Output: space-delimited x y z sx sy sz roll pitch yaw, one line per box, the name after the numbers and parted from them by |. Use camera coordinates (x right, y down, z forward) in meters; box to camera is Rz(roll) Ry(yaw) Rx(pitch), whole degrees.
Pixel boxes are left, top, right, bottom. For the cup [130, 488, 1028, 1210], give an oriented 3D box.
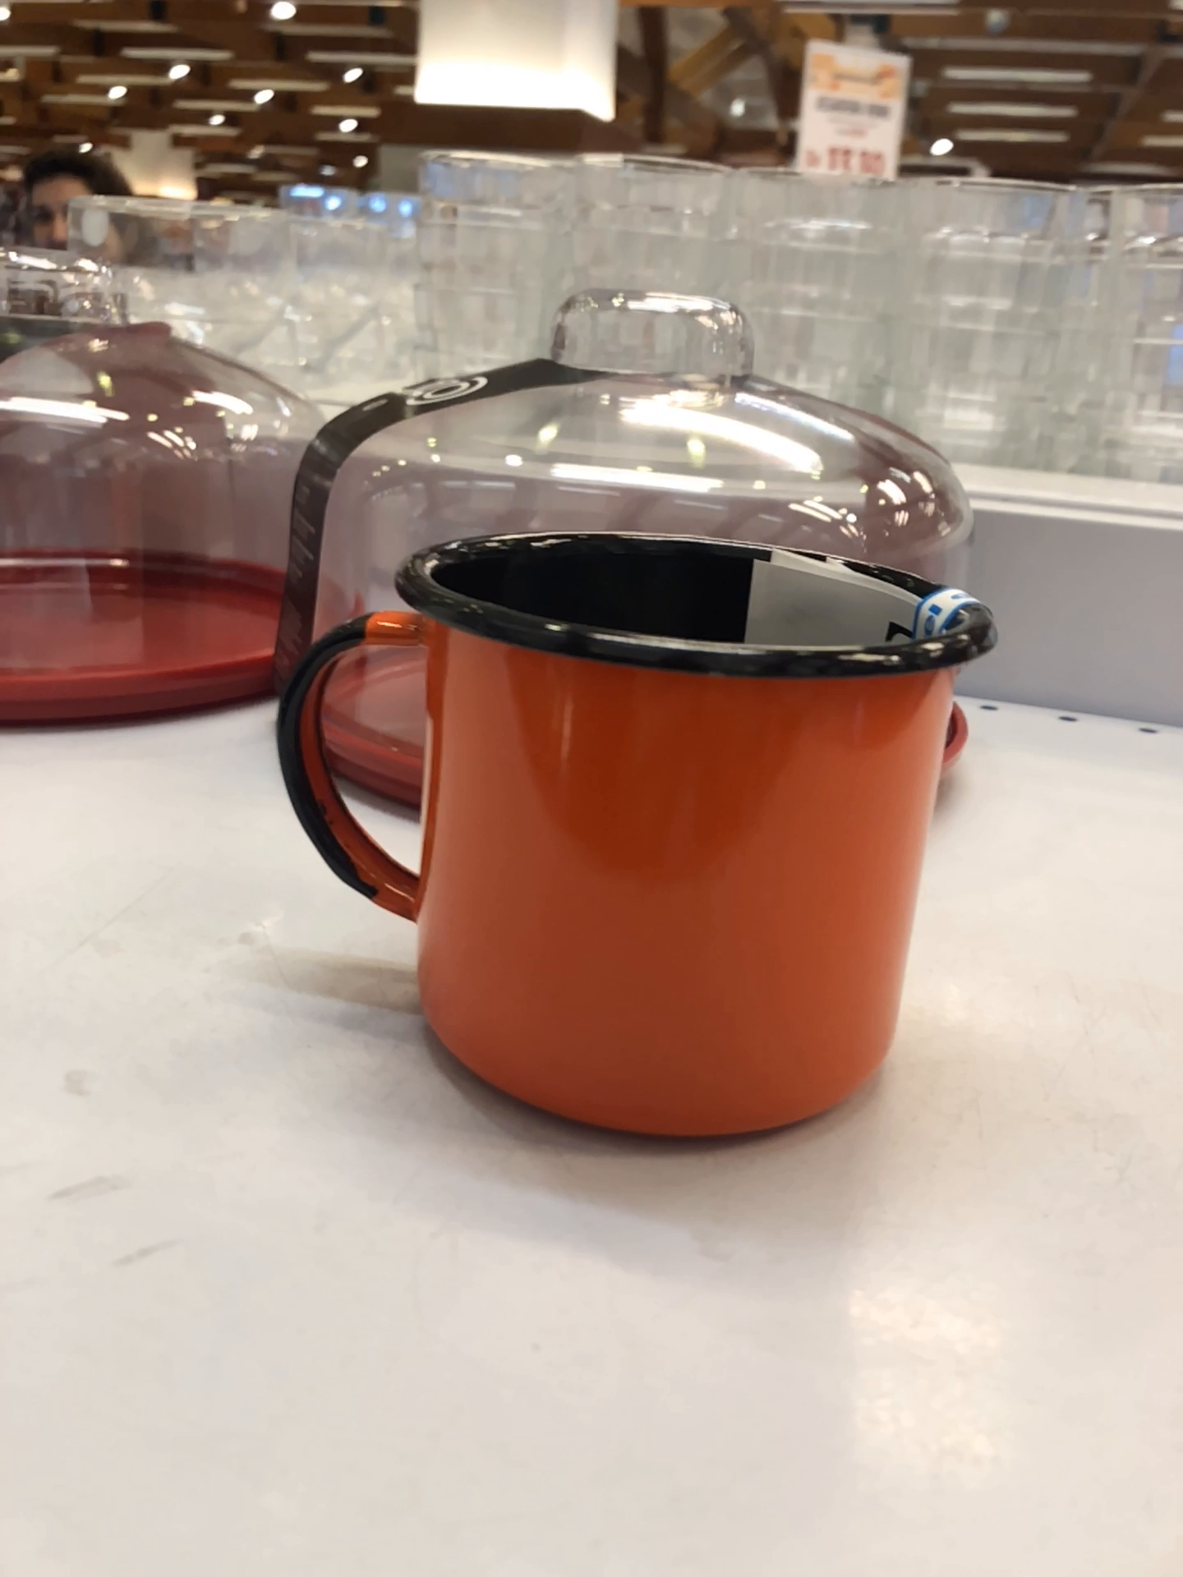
0.003 -0.001 0.203 0.110 0.070 0.080 9 21 14 | cup
